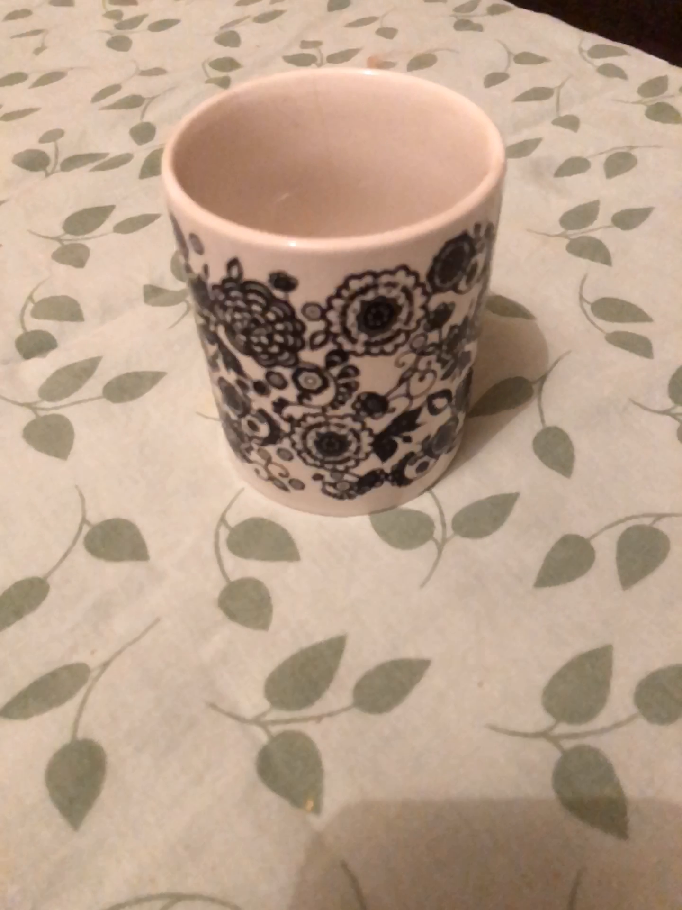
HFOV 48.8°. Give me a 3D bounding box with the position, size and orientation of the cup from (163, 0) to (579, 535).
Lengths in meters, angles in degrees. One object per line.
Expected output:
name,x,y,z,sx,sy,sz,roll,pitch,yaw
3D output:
cup,-0.001,-0.060,0.220,0.080,0.099,0.121,-8,50,-4
